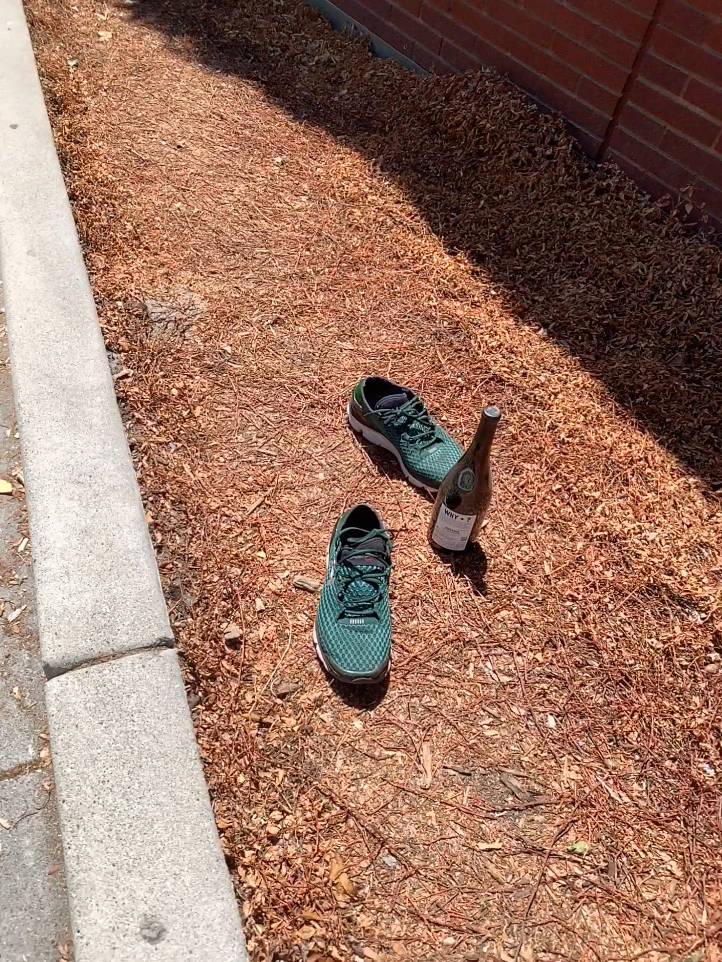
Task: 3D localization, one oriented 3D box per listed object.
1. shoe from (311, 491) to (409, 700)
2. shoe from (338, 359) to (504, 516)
[{"bbox_3d":[-0.004,0.164,1.102,0.120,0.100,0.291,5,49,-7],"label":"shoe"},{"bbox_3d":[0.104,-0.086,1.371,0.120,0.100,0.291,-32,62,-32],"label":"shoe"}]
